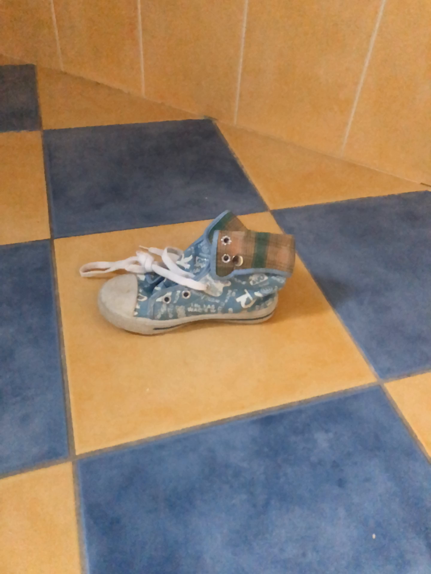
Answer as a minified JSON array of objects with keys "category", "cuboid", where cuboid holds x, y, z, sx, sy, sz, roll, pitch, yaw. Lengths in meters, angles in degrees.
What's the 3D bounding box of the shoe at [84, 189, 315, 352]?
[{"category":"shoe","cuboid":[-0.020,-0.018,0.474,0.200,0.119,0.080,-7,45,-12]}]
